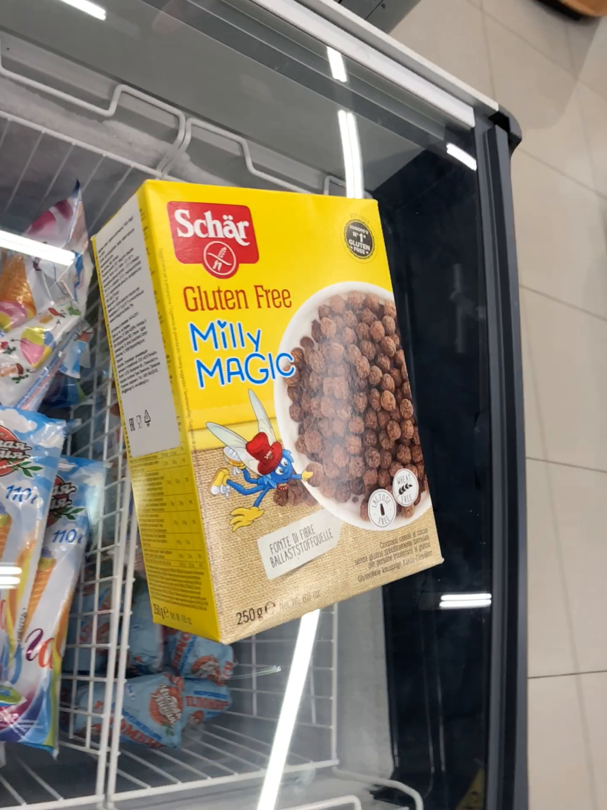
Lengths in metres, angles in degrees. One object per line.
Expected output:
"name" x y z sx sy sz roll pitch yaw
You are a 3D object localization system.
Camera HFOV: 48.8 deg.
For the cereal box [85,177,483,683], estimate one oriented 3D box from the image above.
"cereal box" -0.007 0.004 0.364 0.170 0.070 0.220 -8 85 -35
